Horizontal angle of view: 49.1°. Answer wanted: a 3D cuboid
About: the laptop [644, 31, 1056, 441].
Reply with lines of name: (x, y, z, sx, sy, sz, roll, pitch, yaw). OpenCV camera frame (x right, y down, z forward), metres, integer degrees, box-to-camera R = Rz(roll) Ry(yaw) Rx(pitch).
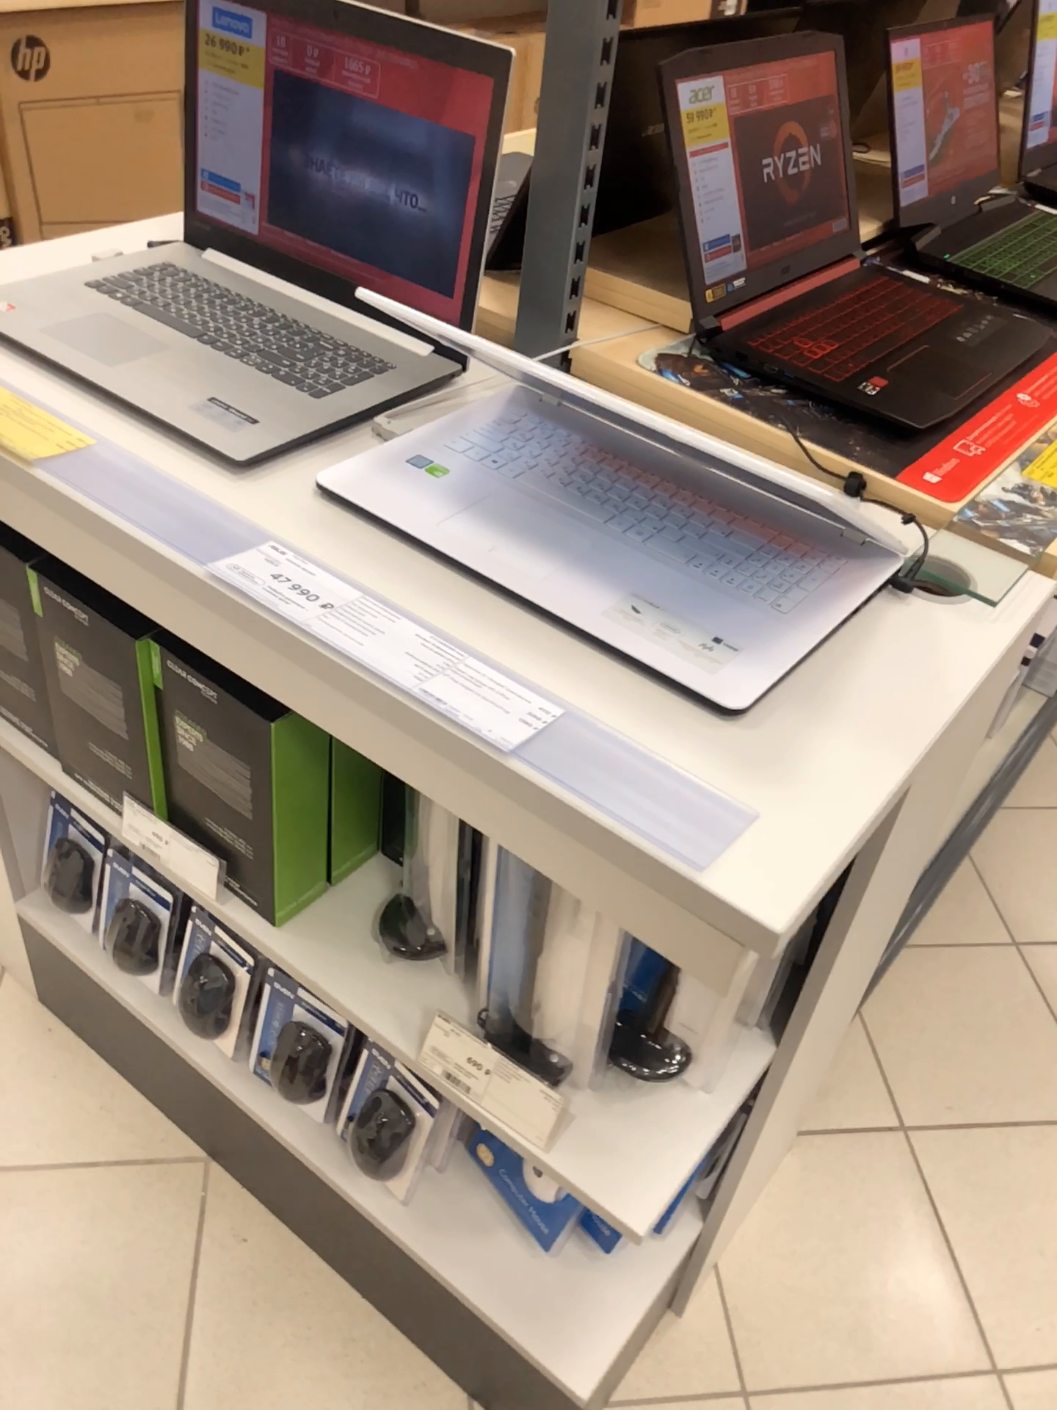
laptop: (0.375, -0.524, 1.229, 0.366, 0.220, 0.378, 34, 48, 29)

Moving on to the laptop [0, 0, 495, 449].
laptop: (-0.286, -0.482, 1.054, 0.392, 0.262, 0.338, 28, 43, 22)

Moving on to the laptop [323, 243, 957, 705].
laptop: (0.078, -0.202, 0.901, 0.391, 0.142, 0.258, 30, 43, 22)
